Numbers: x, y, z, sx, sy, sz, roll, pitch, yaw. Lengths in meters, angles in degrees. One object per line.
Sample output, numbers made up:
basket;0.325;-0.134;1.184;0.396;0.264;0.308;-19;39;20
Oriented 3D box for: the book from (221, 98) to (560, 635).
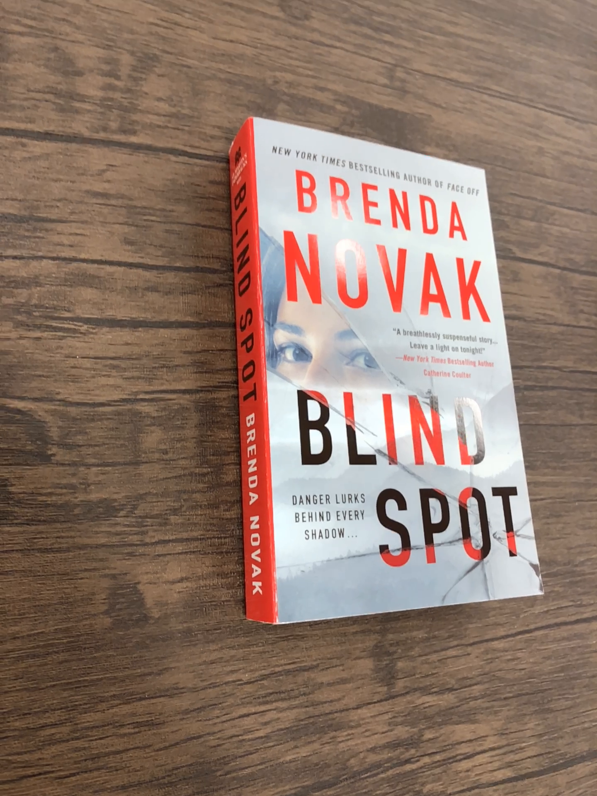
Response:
book;0.032;-0.011;0.253;0.110;0.038;0.175;3;77;-27
